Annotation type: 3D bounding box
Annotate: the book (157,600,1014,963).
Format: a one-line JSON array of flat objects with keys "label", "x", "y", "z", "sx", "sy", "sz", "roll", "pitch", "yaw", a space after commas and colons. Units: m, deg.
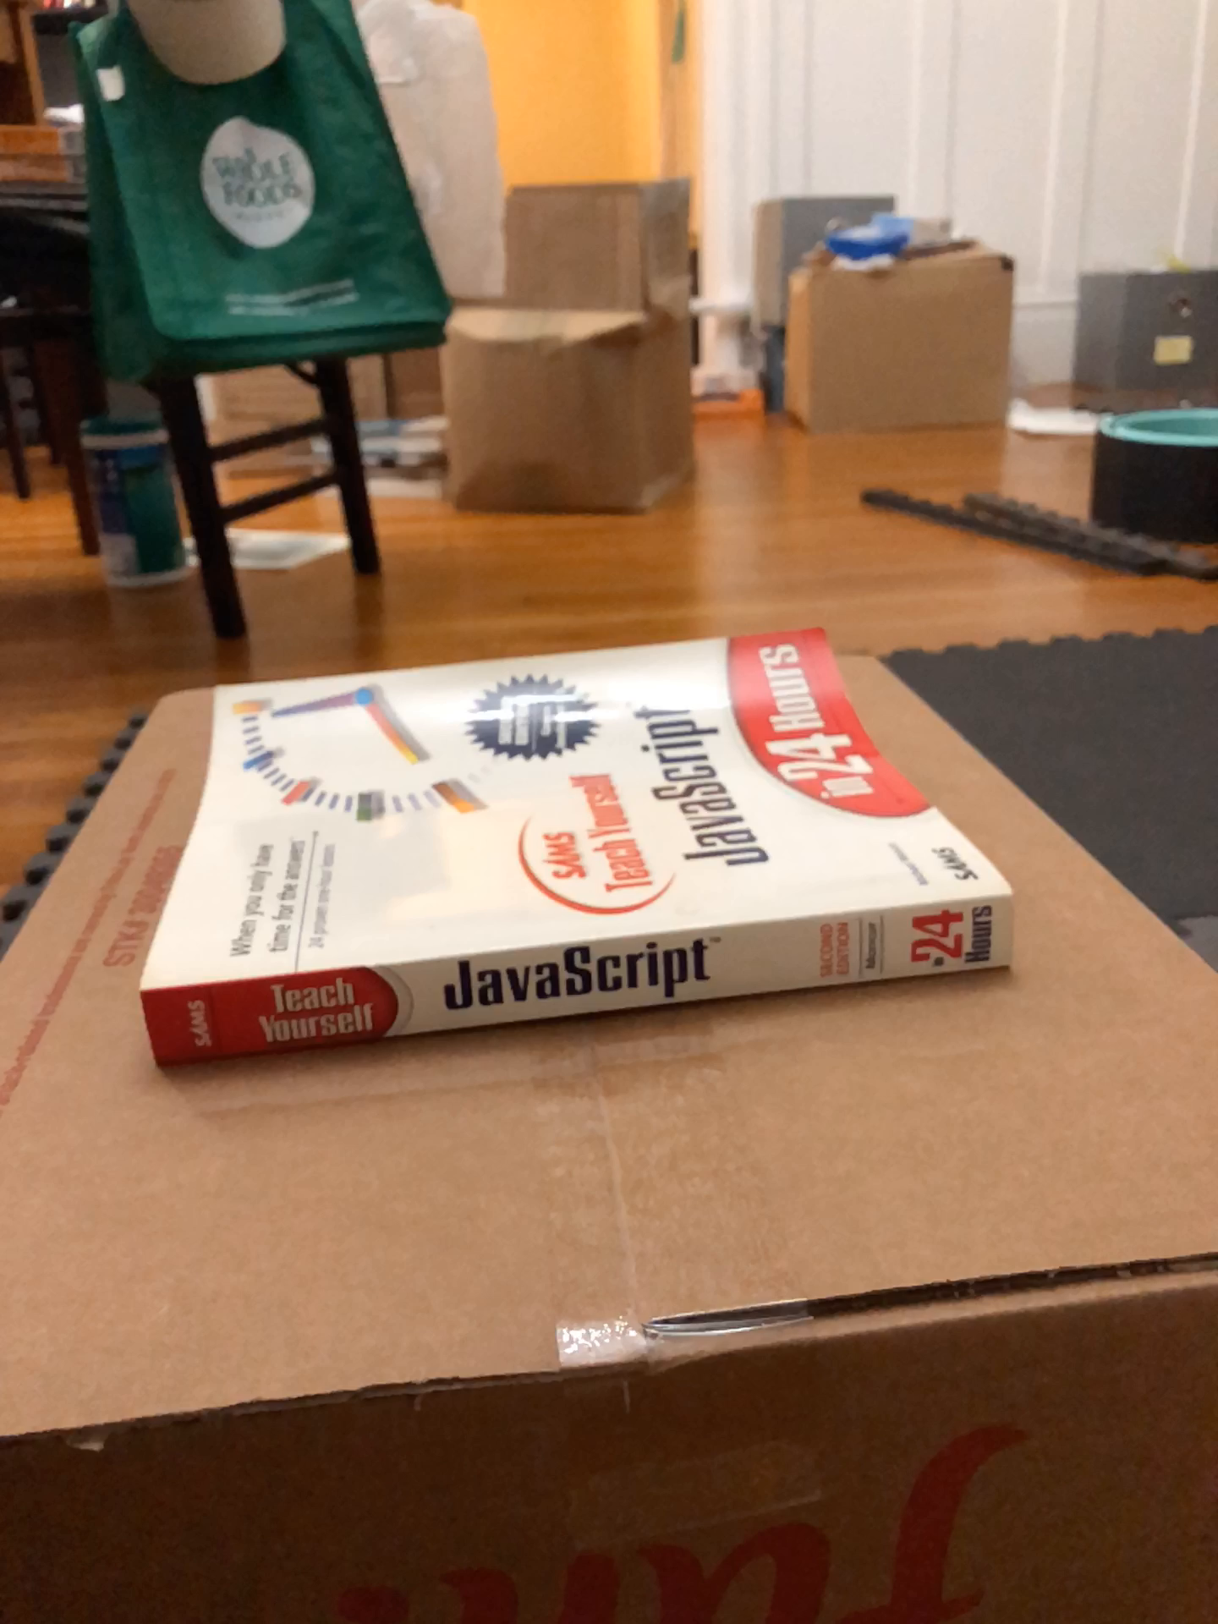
[{"label": "book", "x": -0.015, "y": -0.024, "z": 0.474, "sx": 0.240, "sy": 0.030, "sz": 0.201, "roll": -7, "pitch": 23, "yaw": -6}]
